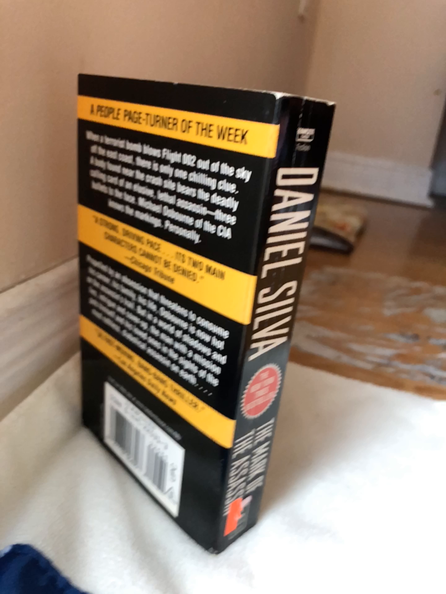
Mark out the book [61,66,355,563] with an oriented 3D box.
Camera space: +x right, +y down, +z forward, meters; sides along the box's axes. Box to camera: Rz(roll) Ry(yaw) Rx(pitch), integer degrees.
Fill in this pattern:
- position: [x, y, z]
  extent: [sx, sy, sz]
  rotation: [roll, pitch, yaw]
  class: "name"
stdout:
- position: [-0.022, -0.002, 0.217]
  extent: [0.045, 0.169, 0.119]
  rotation: [-11, 27, -39]
  class: "book"
